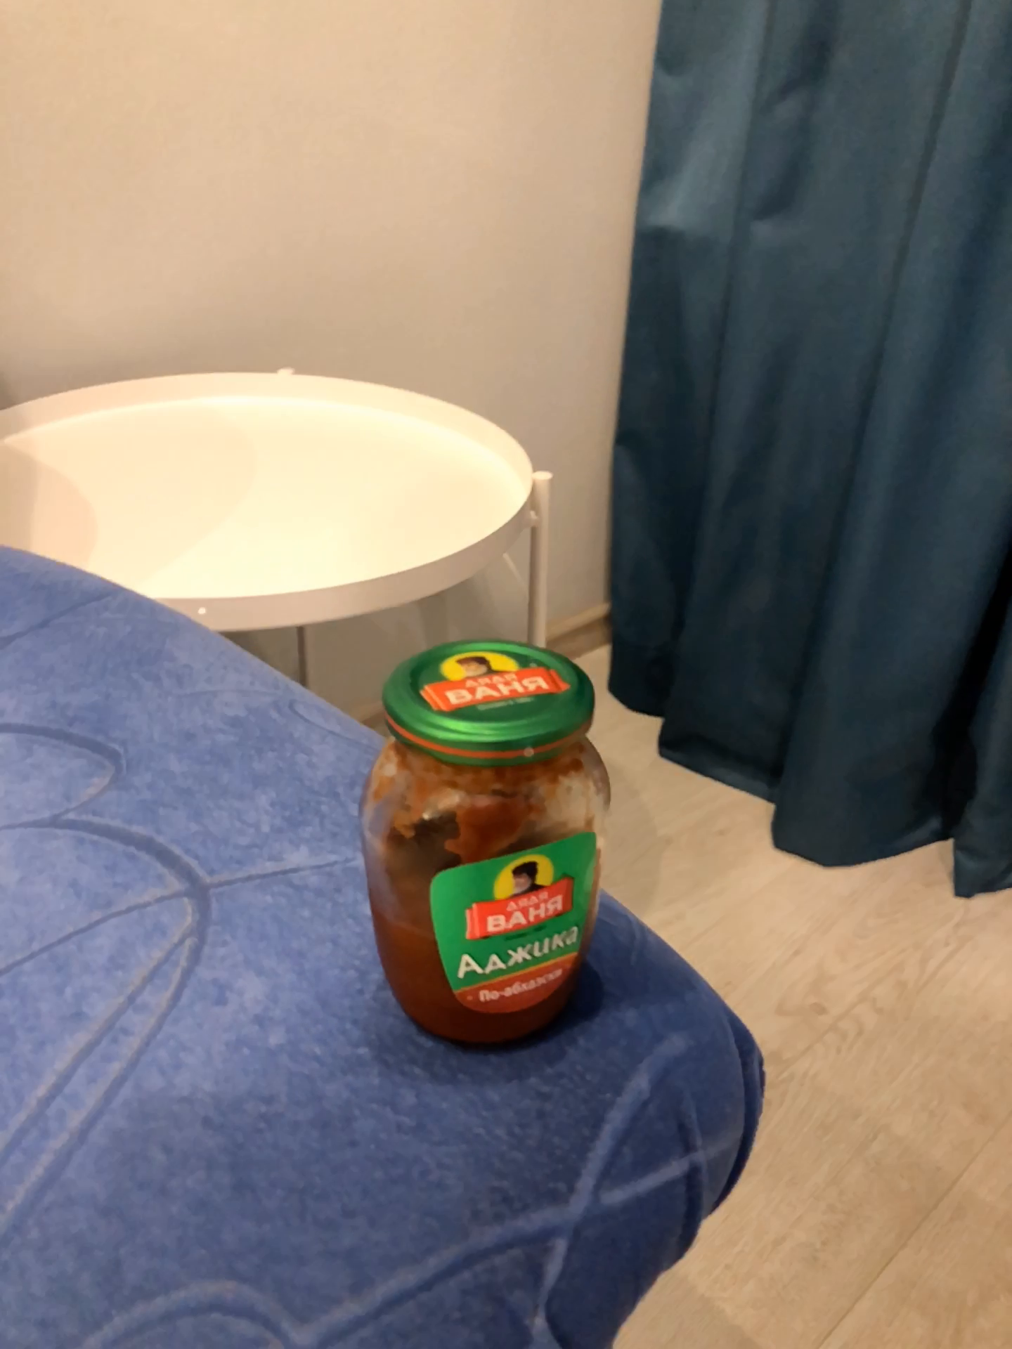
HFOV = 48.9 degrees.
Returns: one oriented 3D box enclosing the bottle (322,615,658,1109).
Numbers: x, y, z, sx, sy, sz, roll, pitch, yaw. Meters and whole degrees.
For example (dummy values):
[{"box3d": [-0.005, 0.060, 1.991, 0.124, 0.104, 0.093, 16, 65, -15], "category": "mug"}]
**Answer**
[{"box3d": [-0.007, 0.043, 0.274, 0.060, 0.092, 0.060, 1, 27, 0], "category": "bottle"}]
